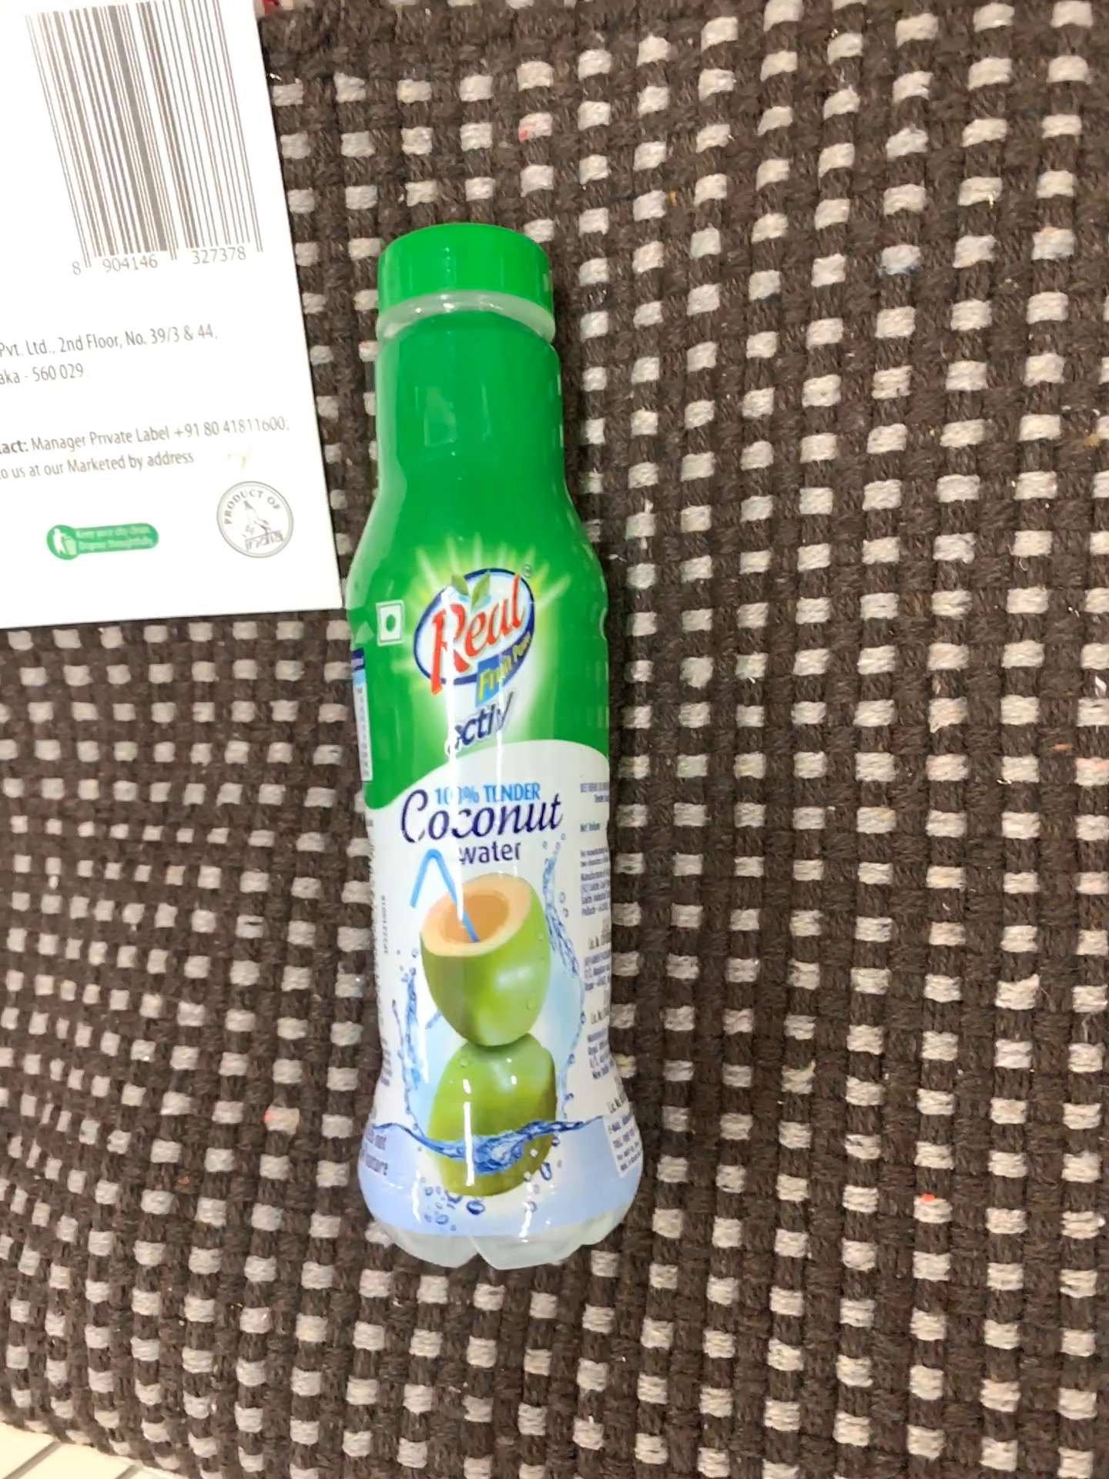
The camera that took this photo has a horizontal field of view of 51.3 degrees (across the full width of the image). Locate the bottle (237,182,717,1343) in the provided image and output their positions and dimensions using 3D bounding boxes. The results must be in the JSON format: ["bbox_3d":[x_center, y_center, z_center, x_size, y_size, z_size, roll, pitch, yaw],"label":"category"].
[{"bbox_3d":[-0.008,0.008,0.191,0.060,0.040,0.170,-3,97,7],"label":"bottle"}]
